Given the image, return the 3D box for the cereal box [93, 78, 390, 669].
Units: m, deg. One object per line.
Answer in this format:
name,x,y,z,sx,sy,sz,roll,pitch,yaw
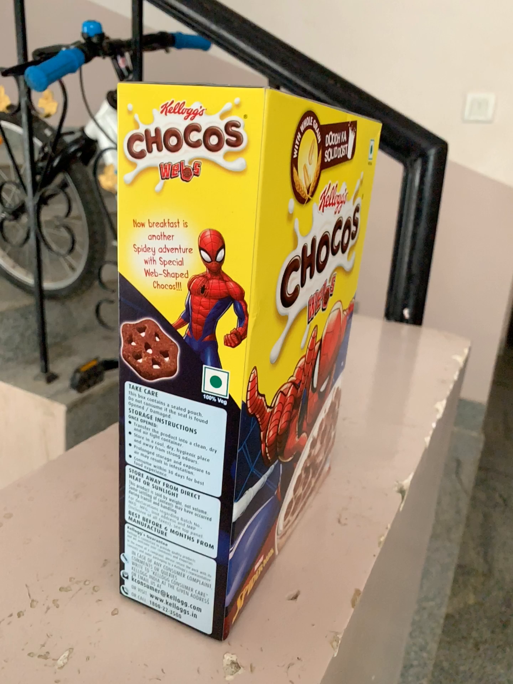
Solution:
cereal box,0.002,0.001,0.305,0.070,0.248,0.191,13,21,21
